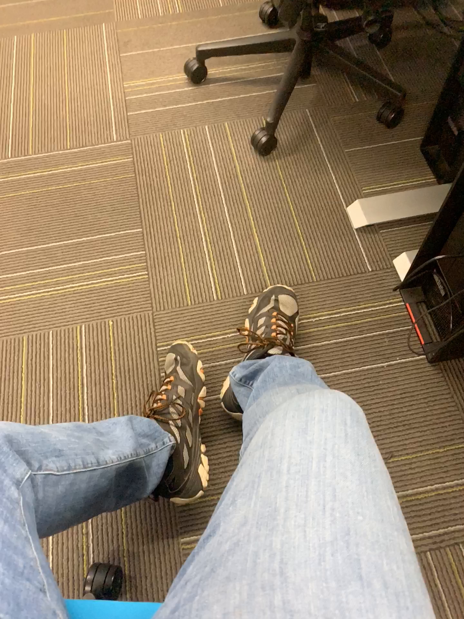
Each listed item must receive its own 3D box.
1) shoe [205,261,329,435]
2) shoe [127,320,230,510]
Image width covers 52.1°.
[{"bbox_3d":[0.080,0.072,0.981,0.119,0.119,0.325,0,61,43],"label":"shoe"},{"bbox_3d":[-0.111,0.201,0.917,0.127,0.119,0.326,10,61,-37],"label":"shoe"}]
